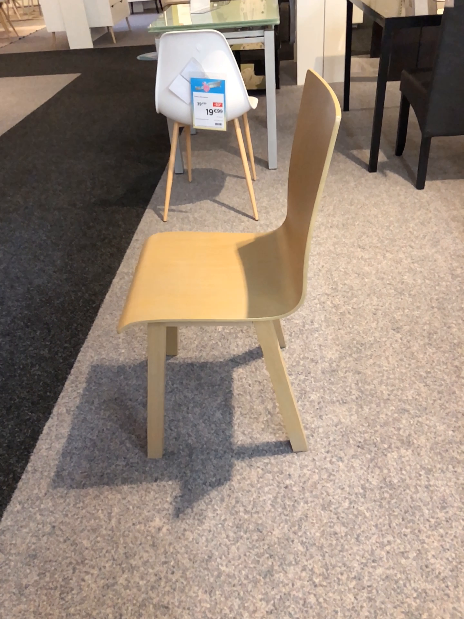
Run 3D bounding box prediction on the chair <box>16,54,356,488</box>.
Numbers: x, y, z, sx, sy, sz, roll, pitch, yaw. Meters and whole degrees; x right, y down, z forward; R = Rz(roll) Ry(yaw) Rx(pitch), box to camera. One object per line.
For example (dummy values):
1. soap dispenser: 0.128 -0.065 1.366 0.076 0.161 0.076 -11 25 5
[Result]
1. chair: -0.021 -0.062 1.178 0.490 0.835 0.523 -2 37 6
